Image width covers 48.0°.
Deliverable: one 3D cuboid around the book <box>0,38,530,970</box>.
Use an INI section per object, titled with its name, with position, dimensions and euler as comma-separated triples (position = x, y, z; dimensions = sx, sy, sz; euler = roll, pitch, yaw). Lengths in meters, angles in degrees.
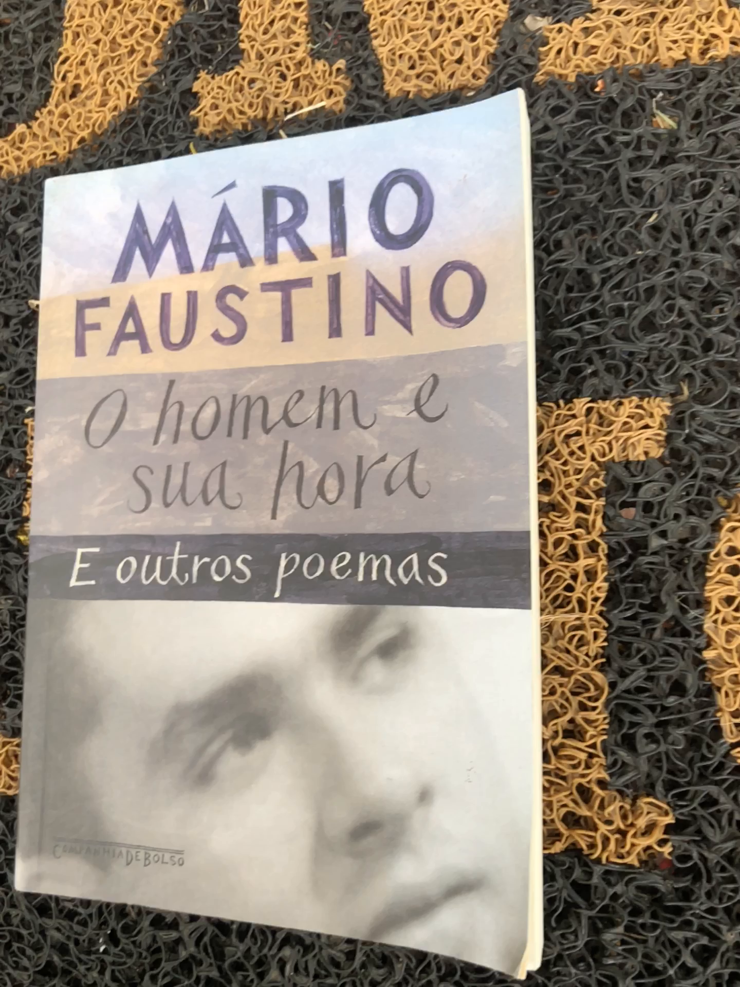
[book]
position = -0.029, -0.001, 0.183
dimensions = 0.124, 0.020, 0.174
euler = -1, 83, 18
